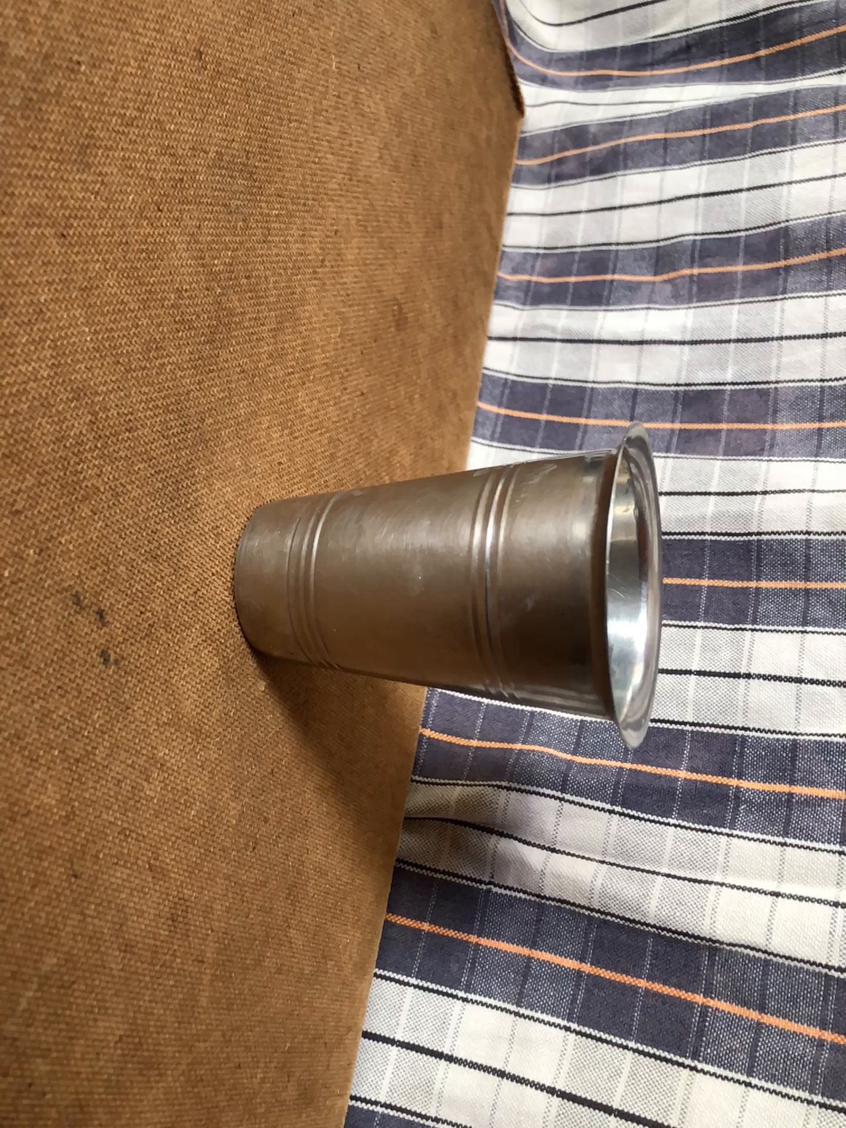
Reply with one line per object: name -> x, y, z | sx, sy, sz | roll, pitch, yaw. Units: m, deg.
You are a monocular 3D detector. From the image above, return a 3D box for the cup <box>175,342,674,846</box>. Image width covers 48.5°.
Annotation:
cup -> 0.011, 0.005, 0.239 | 0.080, 0.089, 0.090 | -62, 145, -51
